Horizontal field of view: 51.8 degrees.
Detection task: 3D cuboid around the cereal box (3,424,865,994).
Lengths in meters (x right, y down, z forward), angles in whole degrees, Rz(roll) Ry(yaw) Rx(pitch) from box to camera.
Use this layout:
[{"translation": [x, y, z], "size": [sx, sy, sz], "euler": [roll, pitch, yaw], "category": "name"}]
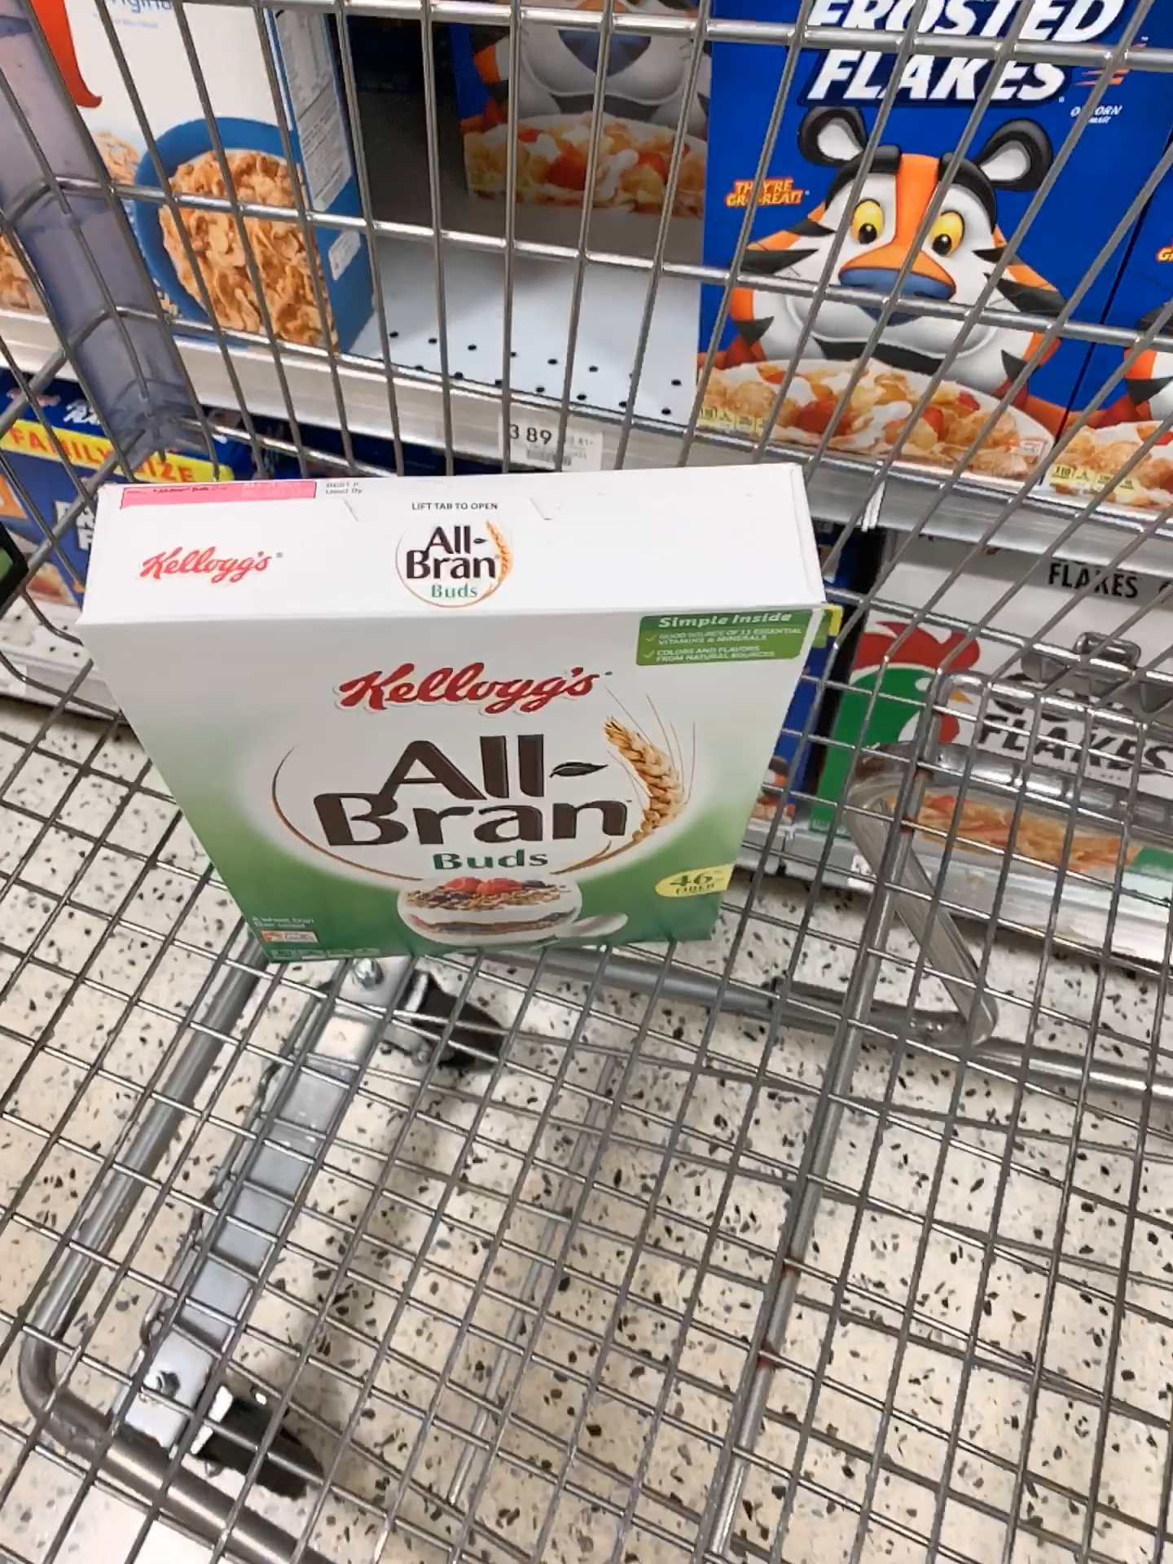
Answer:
[{"translation": [-0.036, 0.002, 0.426], "size": [0.200, 0.298, 0.050], "euler": [-3, 64, -1], "category": "cereal box"}]
